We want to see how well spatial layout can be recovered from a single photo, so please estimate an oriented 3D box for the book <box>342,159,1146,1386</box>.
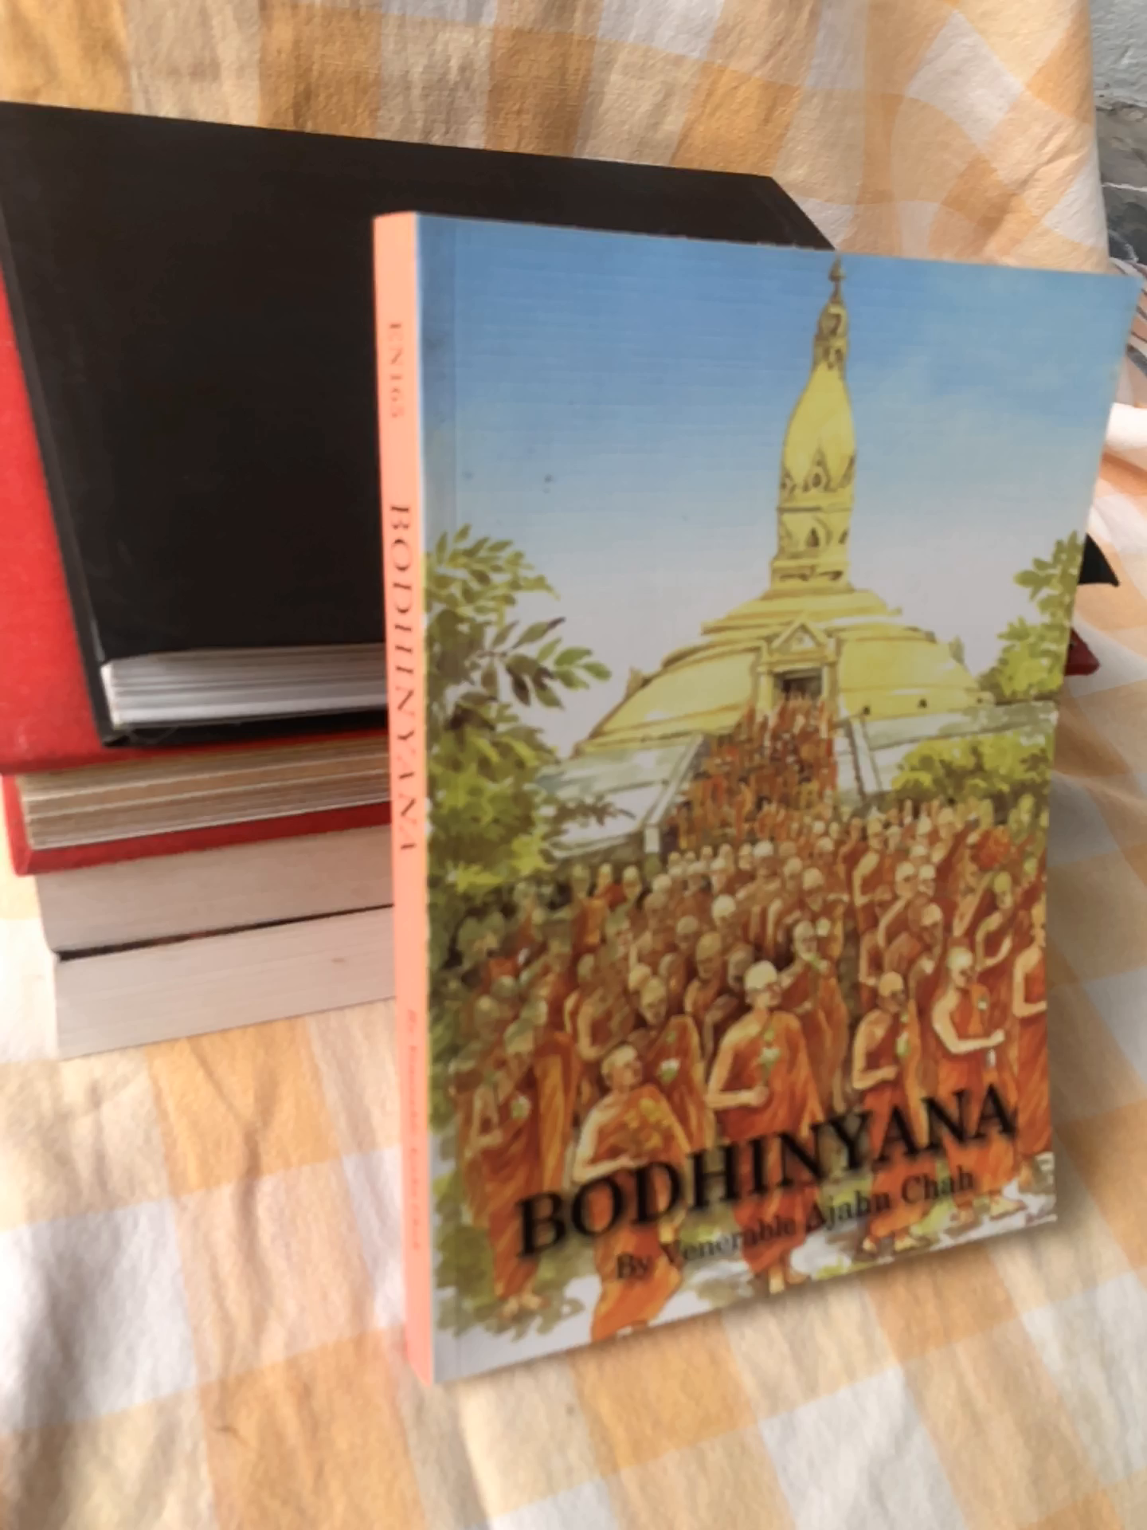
[{"bbox_3d":[0.036,0.003,0.242,0.150,0.200,0.030,-4,13,-22],"label":"book"}]
